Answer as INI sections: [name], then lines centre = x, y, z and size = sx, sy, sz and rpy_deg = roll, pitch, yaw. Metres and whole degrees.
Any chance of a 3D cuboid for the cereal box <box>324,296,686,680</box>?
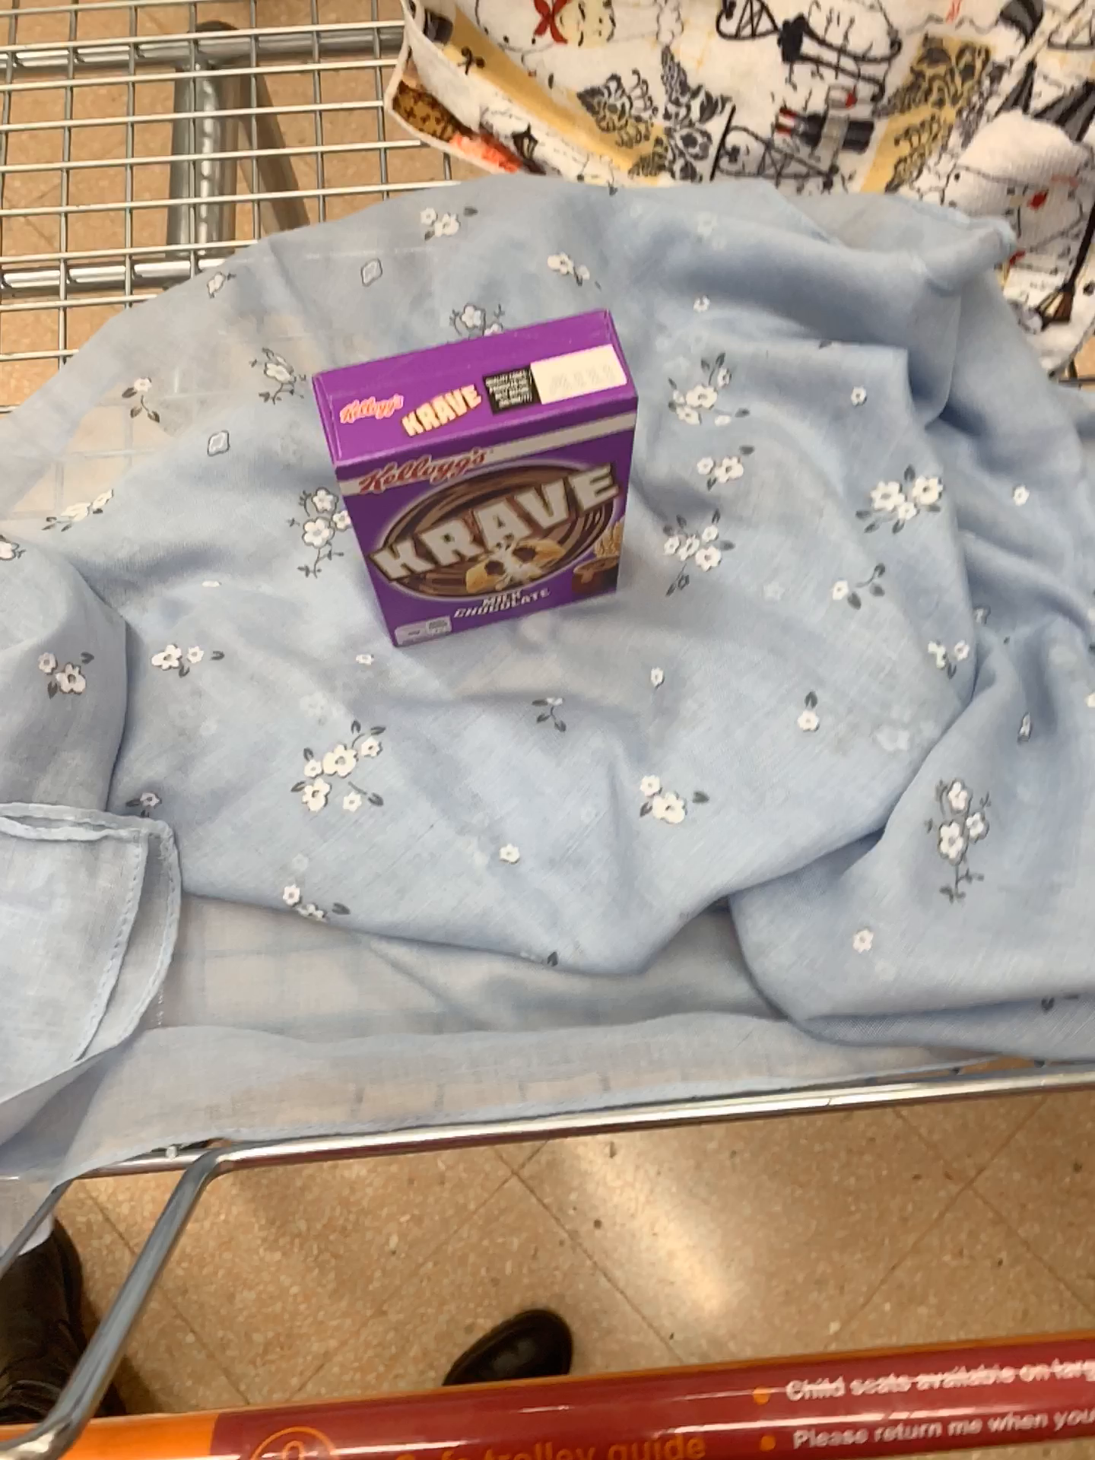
[cereal box]
centre = -0.011, -0.069, 0.362
size = 0.090, 0.130, 0.040
rpy_deg = -13, 70, -4
